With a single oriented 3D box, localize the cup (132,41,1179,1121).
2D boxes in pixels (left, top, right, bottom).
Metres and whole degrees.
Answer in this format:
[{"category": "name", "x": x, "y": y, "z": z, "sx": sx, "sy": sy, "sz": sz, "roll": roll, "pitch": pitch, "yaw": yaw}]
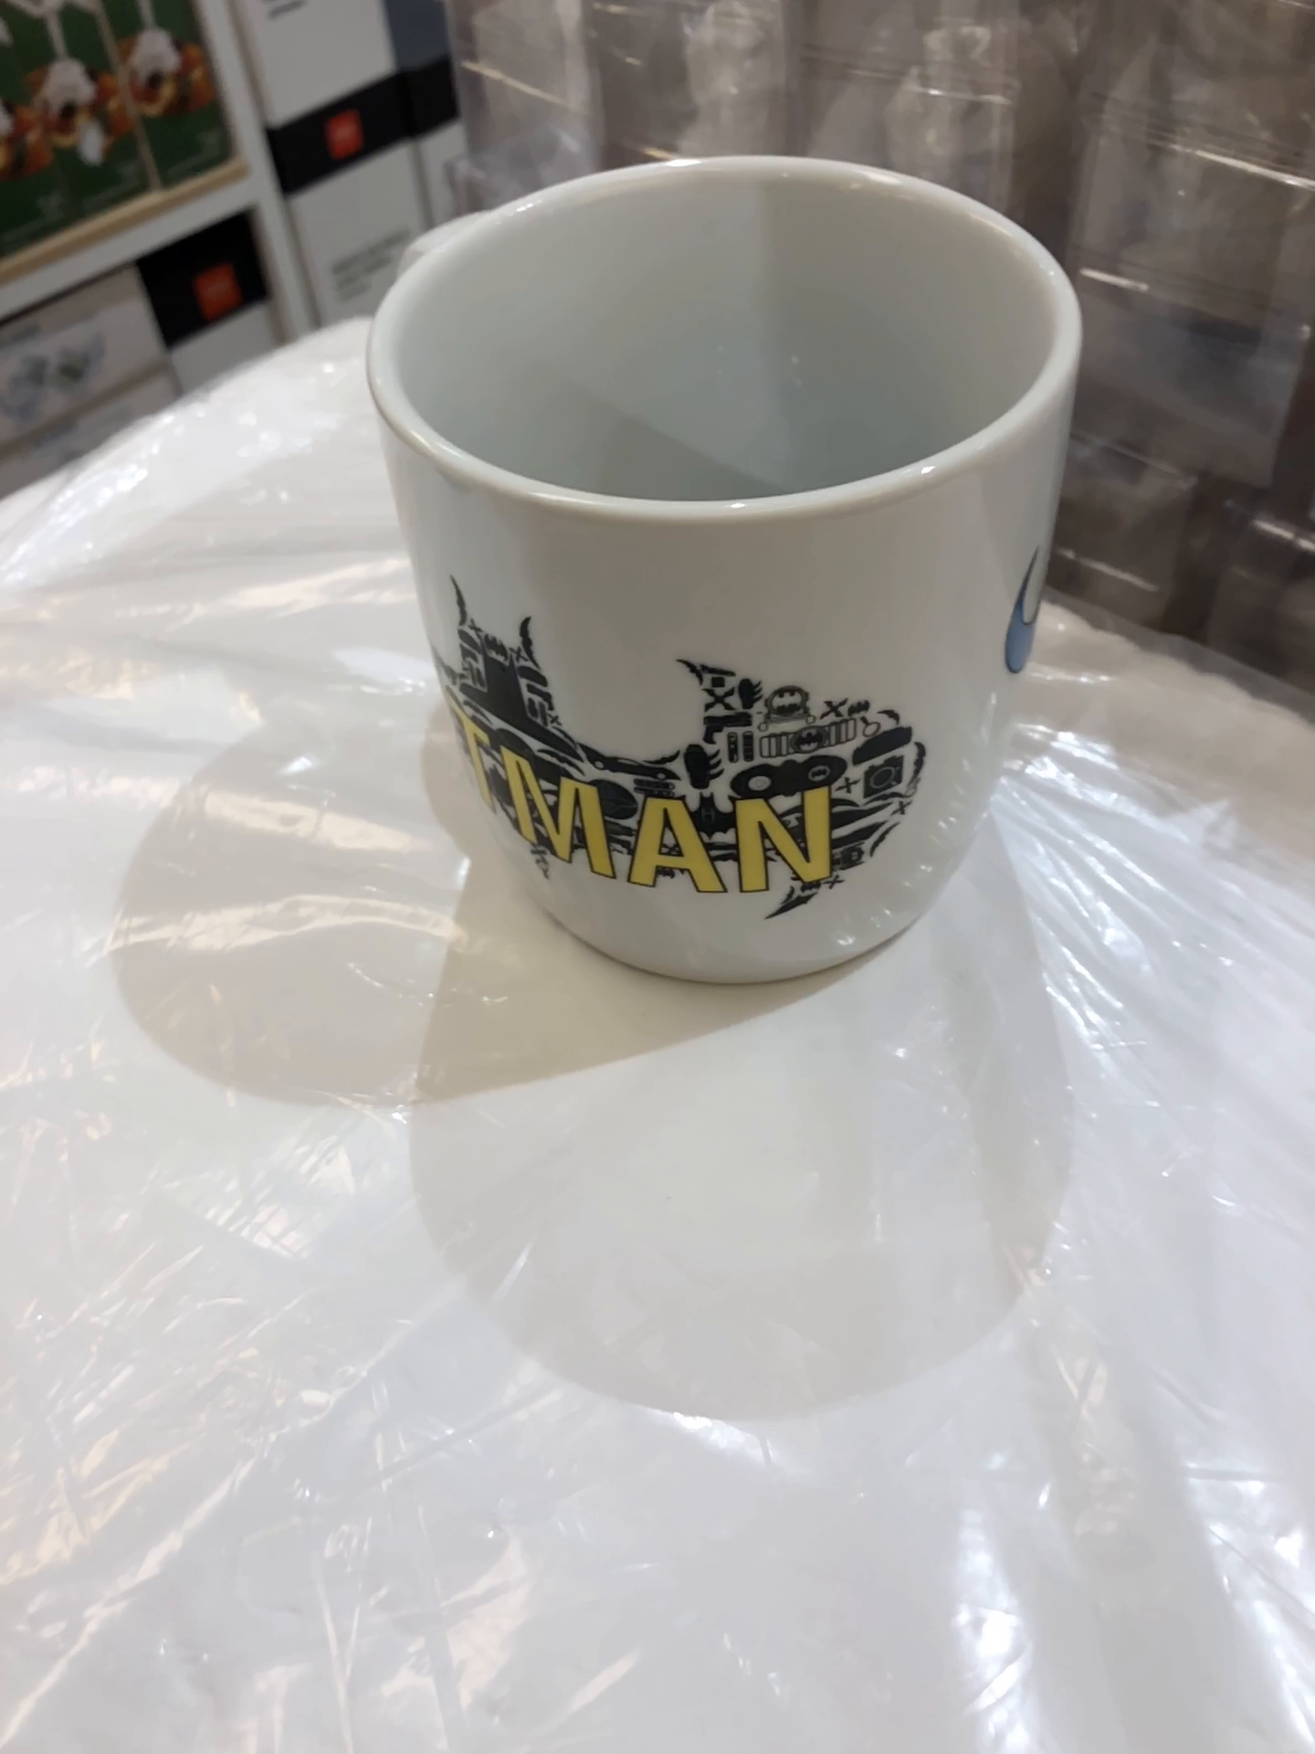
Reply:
[{"category": "cup", "x": -0.004, "y": -0.047, "z": 0.215, "sx": 0.080, "sy": 0.089, "sz": 0.111, "roll": -30, "pitch": 53, "yaw": -20}]
